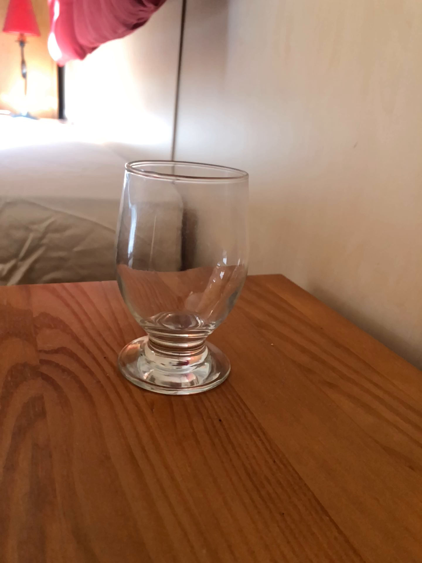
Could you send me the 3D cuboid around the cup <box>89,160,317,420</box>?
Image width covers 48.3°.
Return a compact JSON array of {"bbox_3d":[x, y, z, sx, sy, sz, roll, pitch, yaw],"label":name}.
[{"bbox_3d":[-0.008,-0.005,0.255,0.082,0.107,0.078,6,20,-2],"label":"cup"}]
